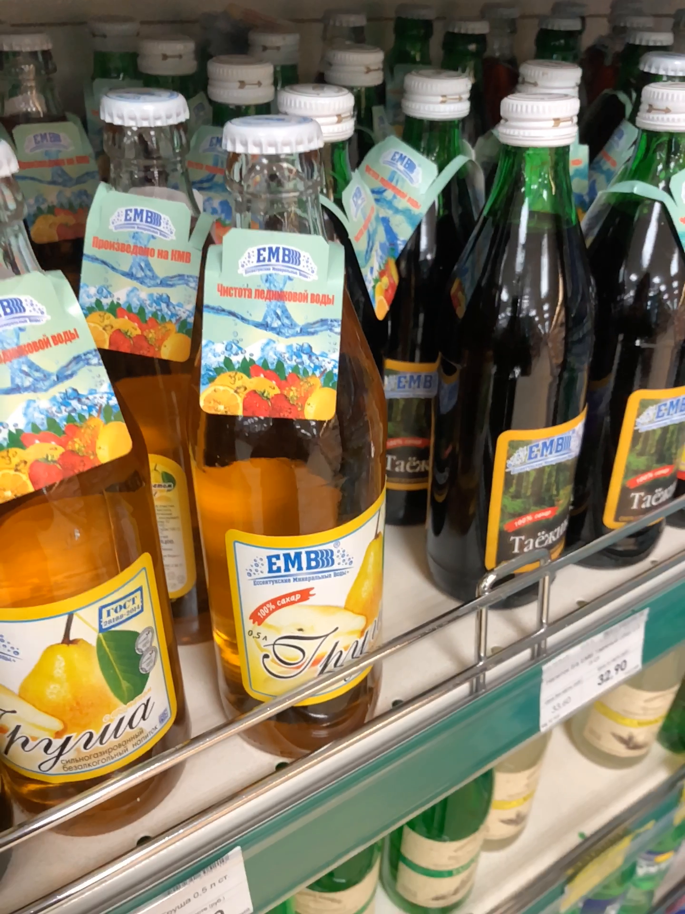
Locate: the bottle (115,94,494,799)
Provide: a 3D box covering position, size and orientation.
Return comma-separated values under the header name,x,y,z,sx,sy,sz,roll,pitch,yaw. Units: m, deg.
name,x,y,z,sx,sy,sz,roll,pitch,yaw
bottle,-0.014,0.005,0.275,0.080,0.234,0.070,-21,38,-30
